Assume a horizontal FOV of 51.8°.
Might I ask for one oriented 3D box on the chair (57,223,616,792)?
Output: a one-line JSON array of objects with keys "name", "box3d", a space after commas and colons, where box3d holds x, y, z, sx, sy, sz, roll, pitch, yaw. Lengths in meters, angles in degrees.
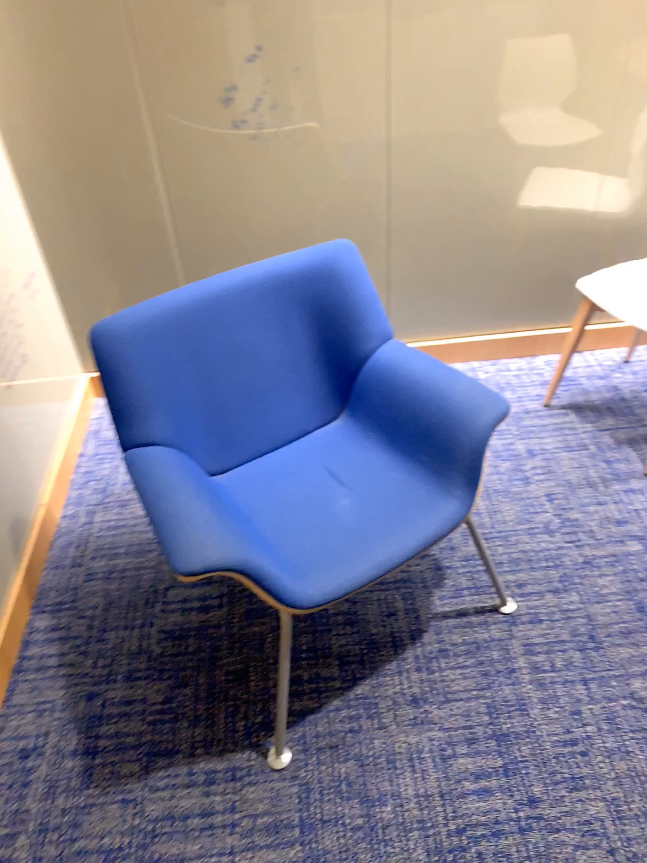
[{"name": "chair", "box3d": [0.007, 0.099, 1.498, 0.790, 0.711, 0.743, -25, 44, -23]}]
